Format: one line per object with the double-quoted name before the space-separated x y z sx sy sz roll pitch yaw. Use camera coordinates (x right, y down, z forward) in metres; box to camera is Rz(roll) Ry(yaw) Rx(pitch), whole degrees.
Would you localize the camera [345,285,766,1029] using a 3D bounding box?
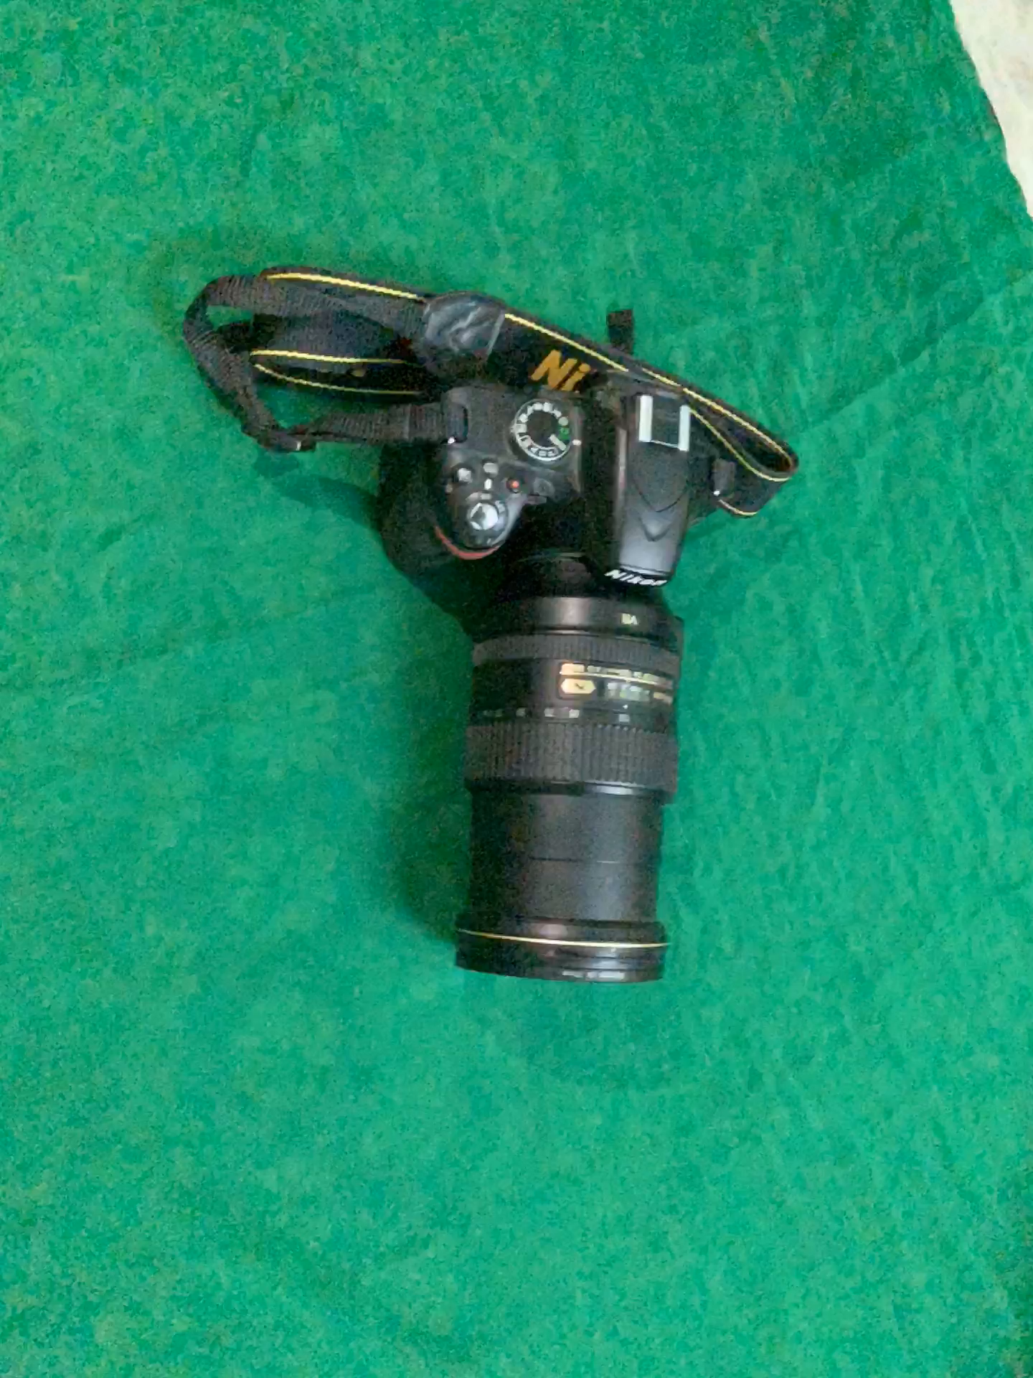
"camera" 0.015 -0.005 0.395 0.122 0.088 0.234 6 82 -25
